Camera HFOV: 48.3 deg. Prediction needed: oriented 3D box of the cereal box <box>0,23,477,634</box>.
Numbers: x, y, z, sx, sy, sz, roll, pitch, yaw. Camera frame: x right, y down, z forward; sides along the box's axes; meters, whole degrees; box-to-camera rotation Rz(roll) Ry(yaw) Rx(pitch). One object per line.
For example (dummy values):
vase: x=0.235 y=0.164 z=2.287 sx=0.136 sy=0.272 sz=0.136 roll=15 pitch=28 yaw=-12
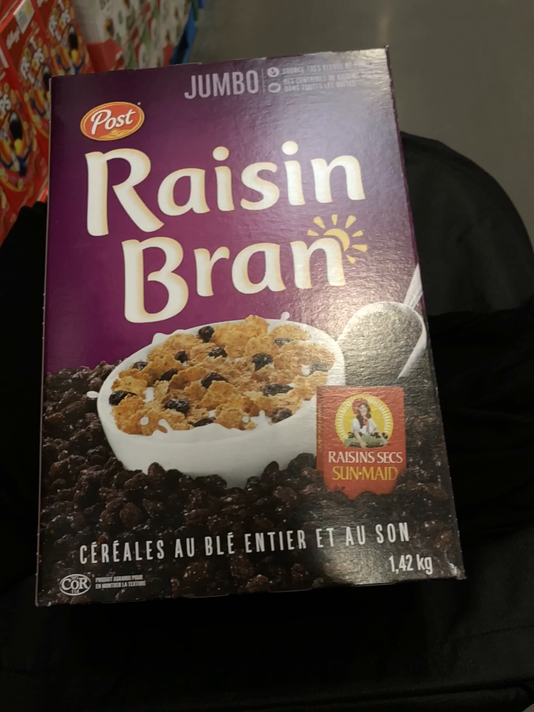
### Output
cereal box: x=-0.023 y=-0.016 z=0.342 sx=0.210 sy=0.110 sz=0.290 roll=-5 pitch=76 yaw=3
